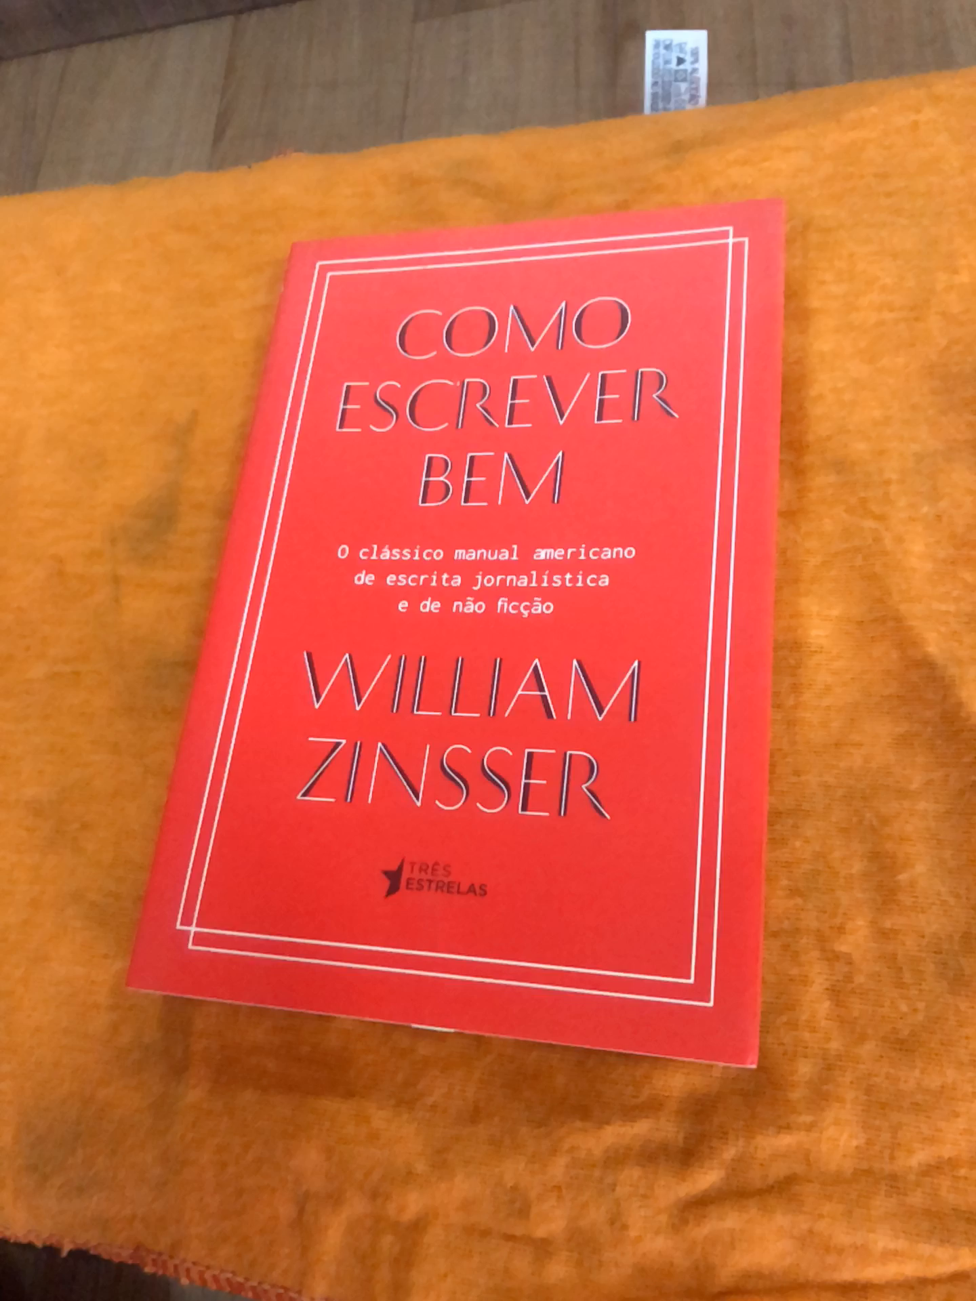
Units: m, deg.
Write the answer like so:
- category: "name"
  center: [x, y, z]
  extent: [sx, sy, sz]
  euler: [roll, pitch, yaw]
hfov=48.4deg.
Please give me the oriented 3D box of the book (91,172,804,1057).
- category: "book"
  center: [-0.003, -0.019, 0.252]
  extent: [0.140, 0.020, 0.196]
  euler: [1, 70, 17]
